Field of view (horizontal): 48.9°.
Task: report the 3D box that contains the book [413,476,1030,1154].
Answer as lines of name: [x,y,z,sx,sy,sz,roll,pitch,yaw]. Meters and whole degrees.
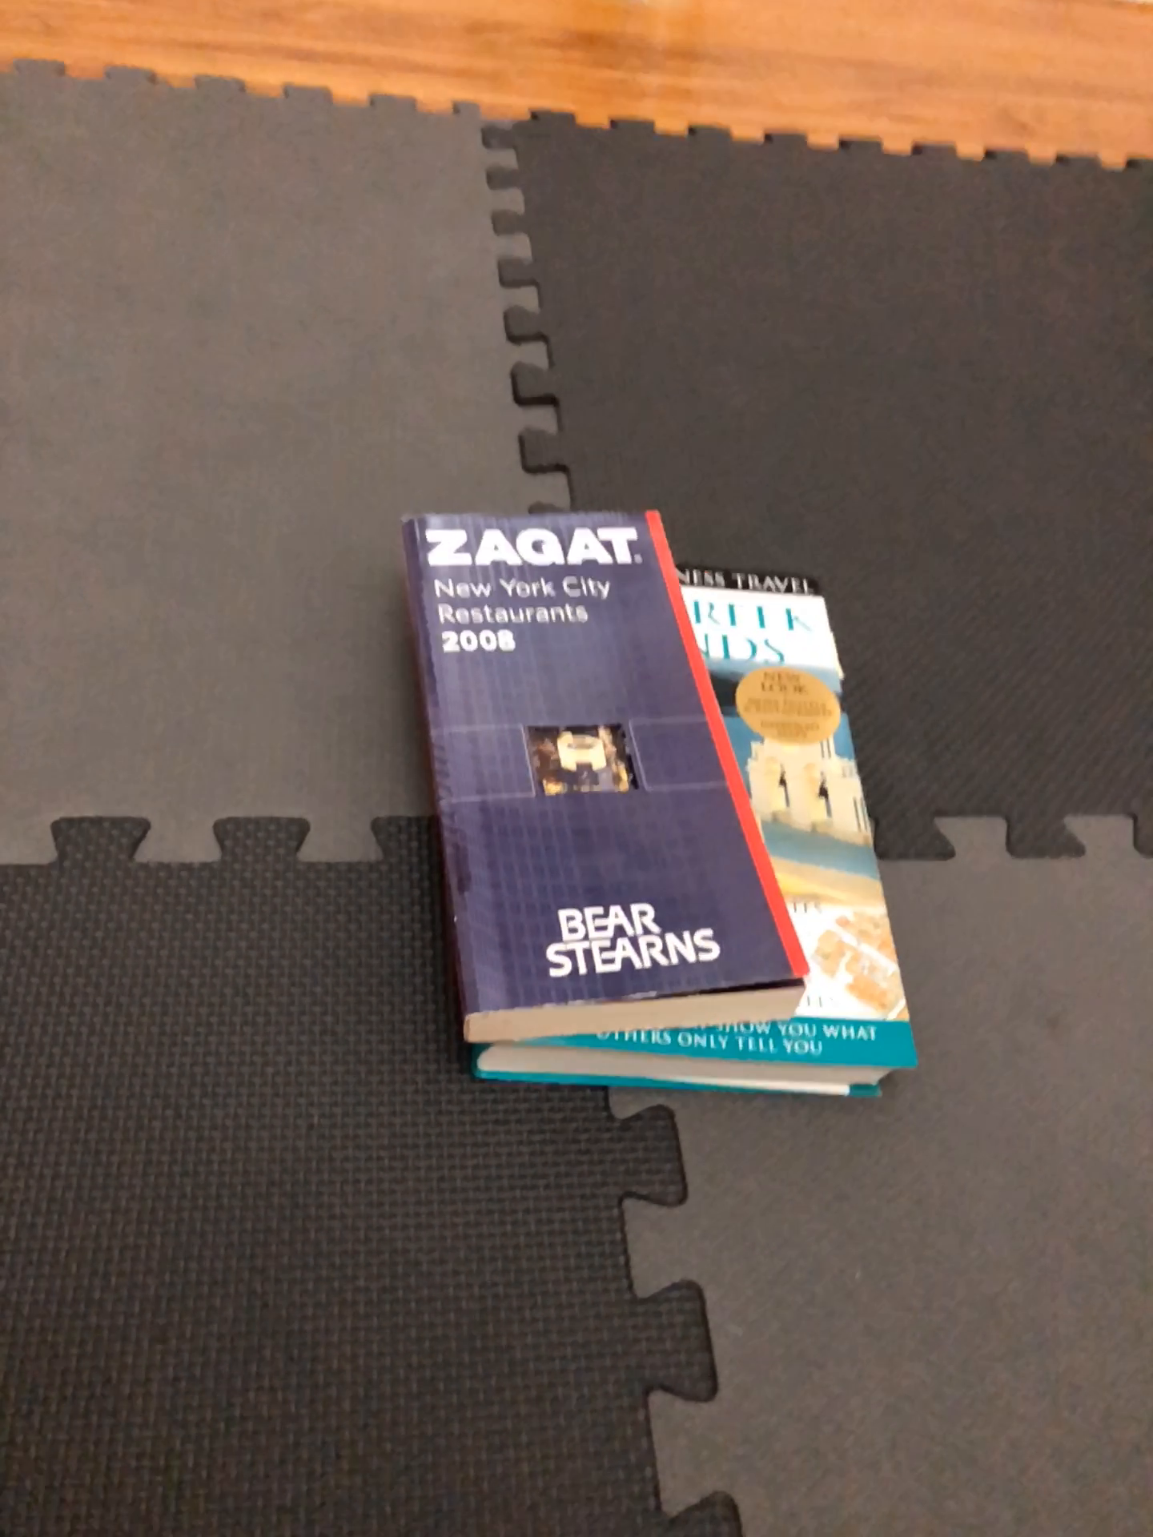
book: [0.037,-0.001,0.439,0.170,0.030,0.261,4,50,-6]

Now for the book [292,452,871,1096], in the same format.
book: [-0.014,-0.020,0.423,0.150,0.020,0.251,-3,51,-12]
